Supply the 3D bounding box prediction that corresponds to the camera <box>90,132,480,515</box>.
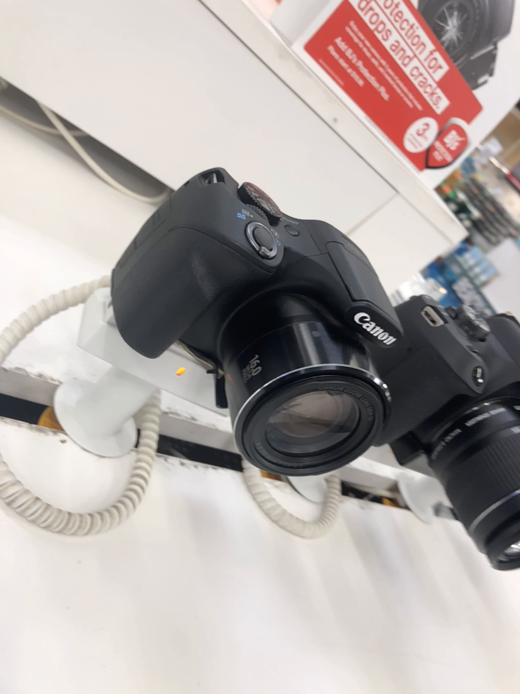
[{"bbox_3d":[0.008,-0.002,0.243,0.120,0.090,0.080,32,30,-36],"label":"camera"}]
